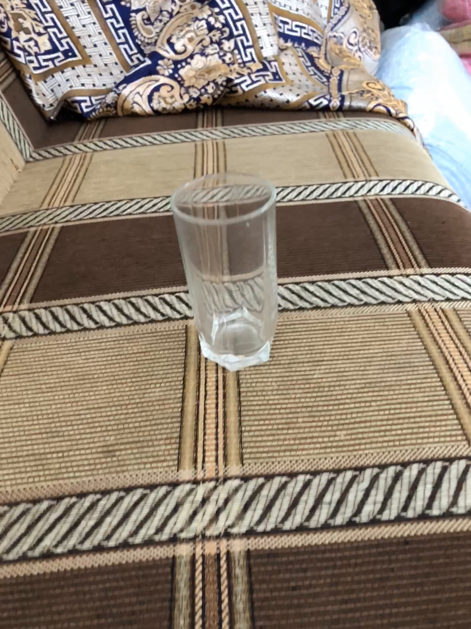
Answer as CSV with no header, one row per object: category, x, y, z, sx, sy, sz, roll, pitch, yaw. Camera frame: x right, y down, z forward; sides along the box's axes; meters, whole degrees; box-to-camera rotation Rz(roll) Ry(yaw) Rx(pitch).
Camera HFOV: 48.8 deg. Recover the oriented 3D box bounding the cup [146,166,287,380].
cup,-0.005,-0.028,0.375,0.075,0.130,0.077,-4,38,3
